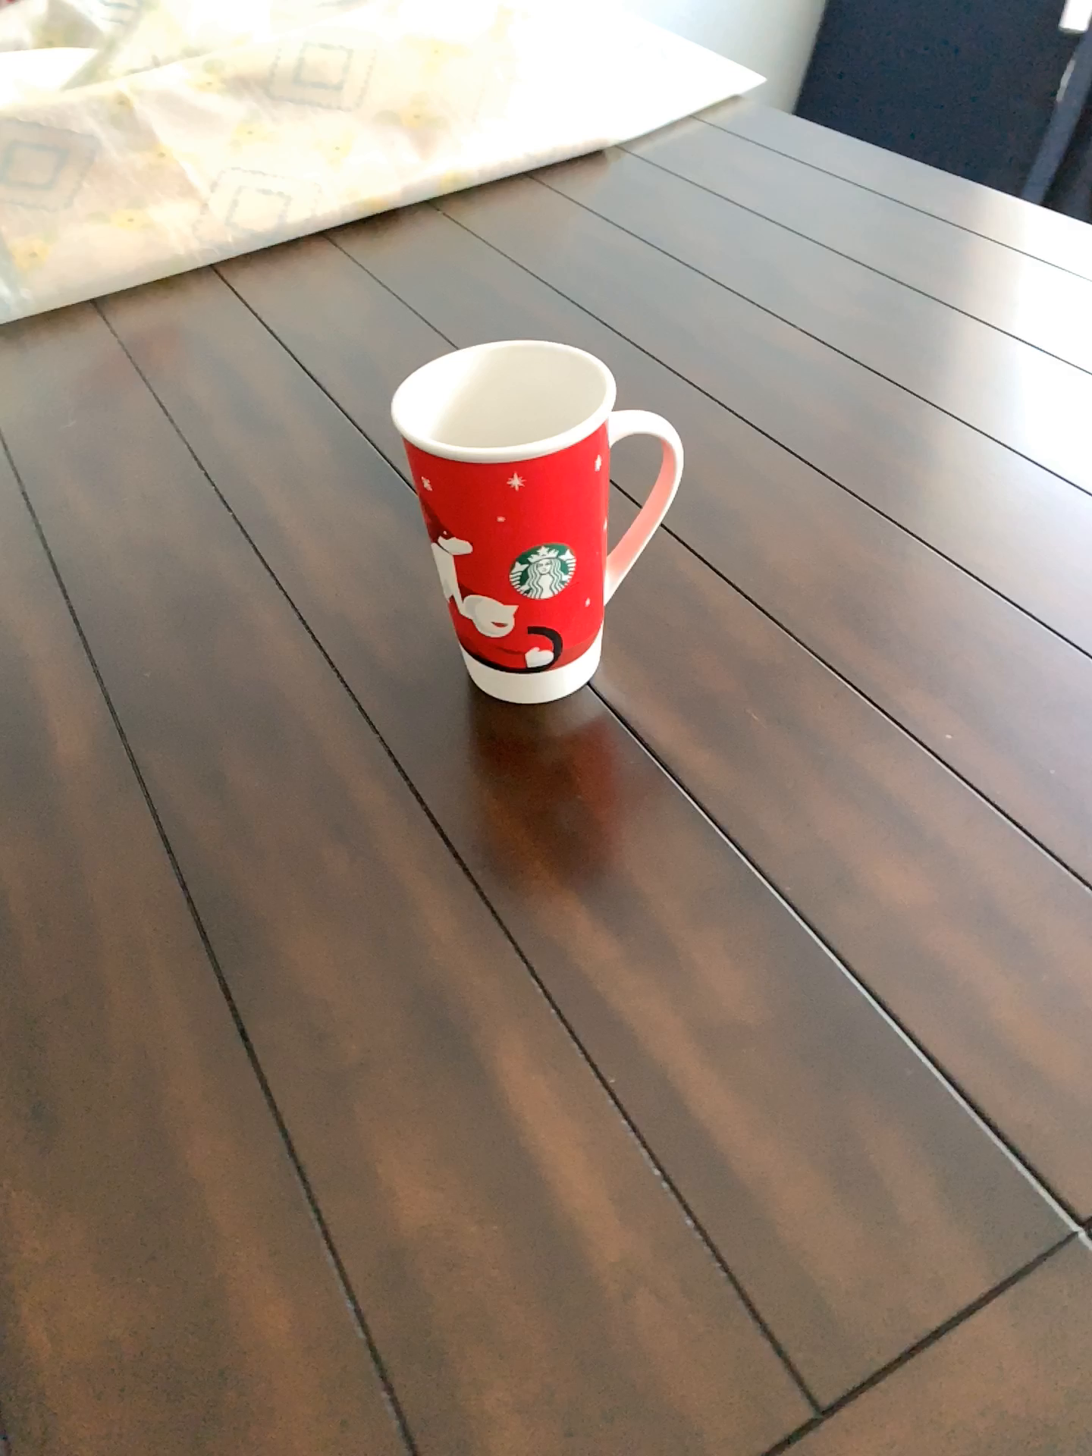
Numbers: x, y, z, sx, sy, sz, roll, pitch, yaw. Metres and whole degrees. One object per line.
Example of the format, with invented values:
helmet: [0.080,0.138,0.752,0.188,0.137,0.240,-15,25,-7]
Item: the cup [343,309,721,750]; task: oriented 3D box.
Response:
cup: [-0.004,-0.092,0.520,0.130,0.139,0.100,-20,47,-15]
